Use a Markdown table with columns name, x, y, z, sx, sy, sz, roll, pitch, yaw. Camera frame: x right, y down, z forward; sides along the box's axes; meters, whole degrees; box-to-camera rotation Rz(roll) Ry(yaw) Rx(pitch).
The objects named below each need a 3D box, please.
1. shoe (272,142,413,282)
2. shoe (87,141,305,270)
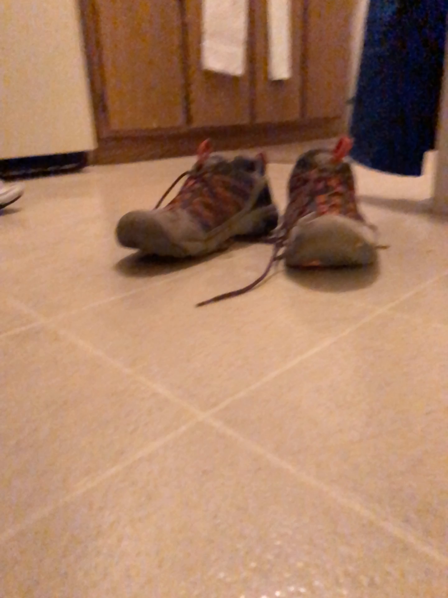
| name | x | y | z | sx | sy | sz | roll | pitch | yaw |
| --- | --- | --- | --- | --- | --- | --- | --- | --- | --- |
| shoe | 0.133 | -0.128 | 0.640 | 0.127 | 0.121 | 0.283 | -1 | 21 | 4 |
| shoe | -0.023 | -0.147 | 0.693 | 0.127 | 0.121 | 0.293 | 16 | 28 | 40 |
